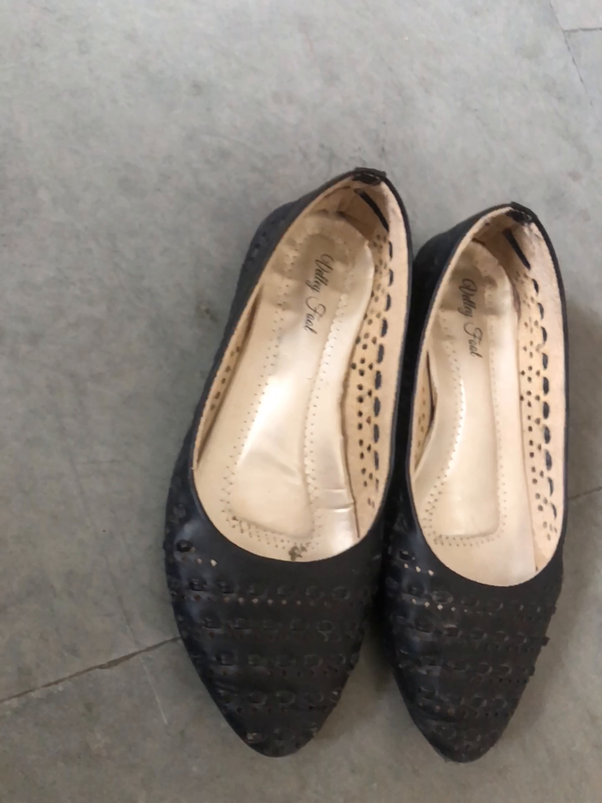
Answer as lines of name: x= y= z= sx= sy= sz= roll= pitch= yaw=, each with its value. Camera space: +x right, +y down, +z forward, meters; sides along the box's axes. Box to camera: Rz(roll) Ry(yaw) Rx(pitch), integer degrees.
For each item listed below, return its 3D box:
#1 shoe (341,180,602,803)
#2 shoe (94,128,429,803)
shoe: x=0.081 y=0.035 z=0.308 sx=0.096 sy=0.073 sz=0.242 roll=7 pitch=76 yaw=-14
shoe: x=-0.012 y=0.023 z=0.277 sx=0.096 sy=0.062 sz=0.242 roll=10 pitch=75 yaw=-14
